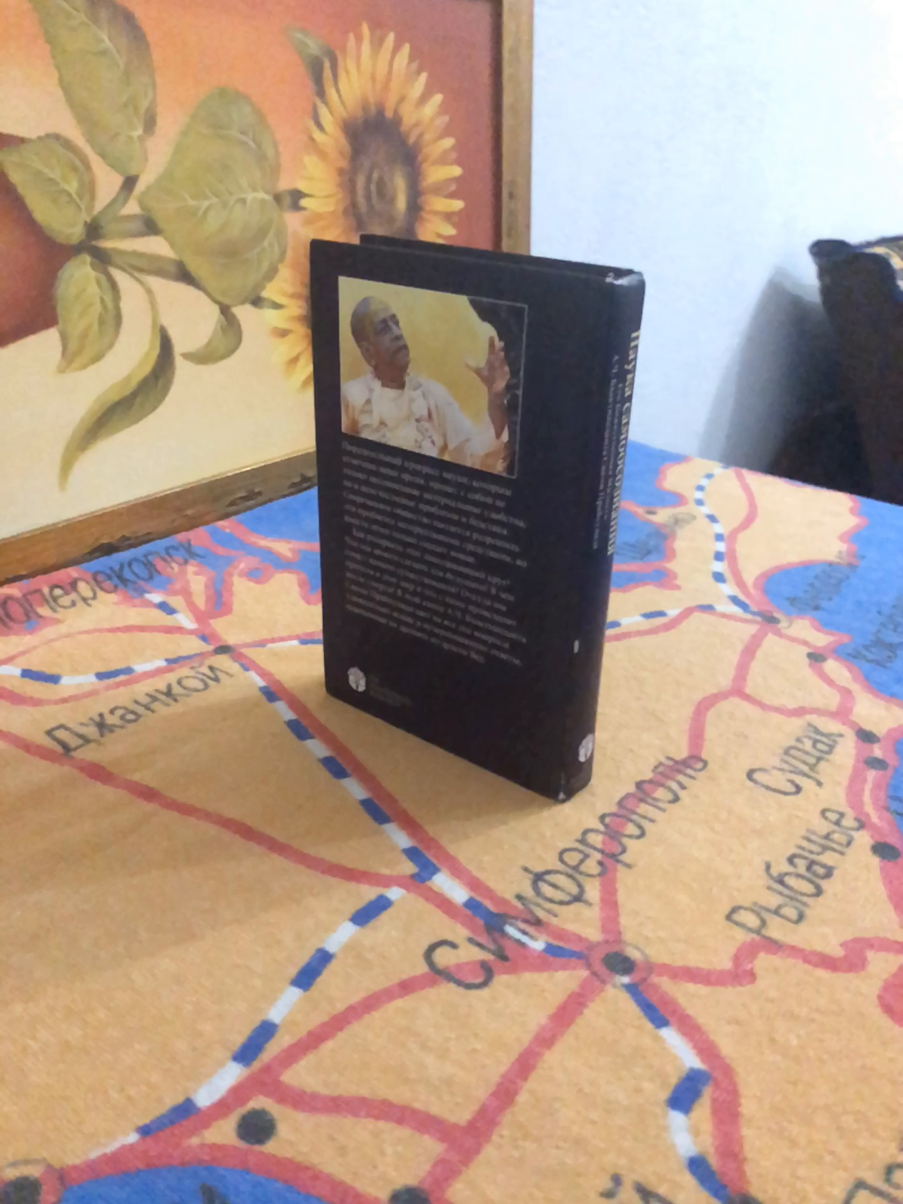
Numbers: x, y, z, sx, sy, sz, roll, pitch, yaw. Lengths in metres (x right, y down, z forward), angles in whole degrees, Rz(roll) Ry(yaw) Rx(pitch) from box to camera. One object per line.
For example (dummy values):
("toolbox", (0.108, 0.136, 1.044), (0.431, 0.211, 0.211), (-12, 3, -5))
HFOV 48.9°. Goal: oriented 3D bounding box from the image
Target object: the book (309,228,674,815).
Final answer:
("book", (0.005, -0.034, 0.400), (0.140, 0.206, 0.030), (20, 30, 33))
